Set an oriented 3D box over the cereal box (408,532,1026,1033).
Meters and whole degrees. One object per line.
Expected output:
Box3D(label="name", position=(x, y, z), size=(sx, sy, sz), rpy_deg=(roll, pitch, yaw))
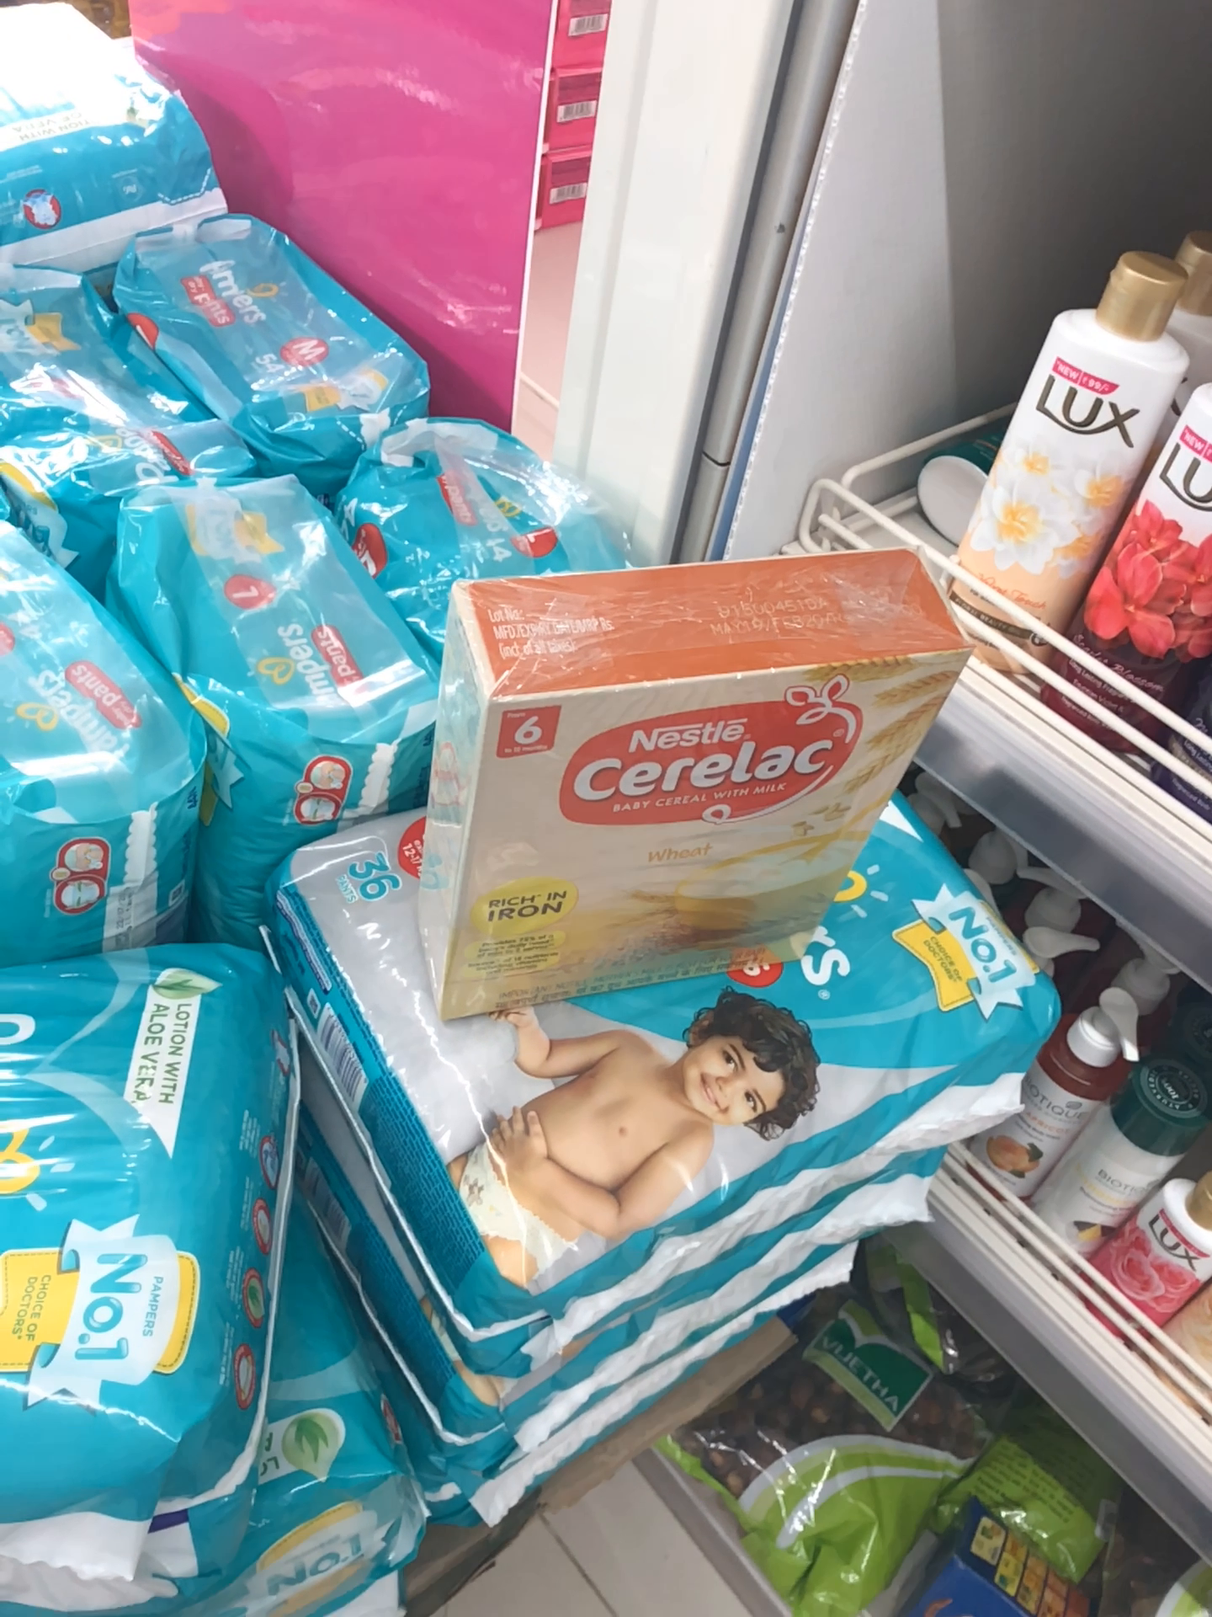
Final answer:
Box3D(label="cereal box", position=(0.023, -0.003, 0.448), size=(0.160, 0.179, 0.050), rpy_deg=(-8, 56, -18))
